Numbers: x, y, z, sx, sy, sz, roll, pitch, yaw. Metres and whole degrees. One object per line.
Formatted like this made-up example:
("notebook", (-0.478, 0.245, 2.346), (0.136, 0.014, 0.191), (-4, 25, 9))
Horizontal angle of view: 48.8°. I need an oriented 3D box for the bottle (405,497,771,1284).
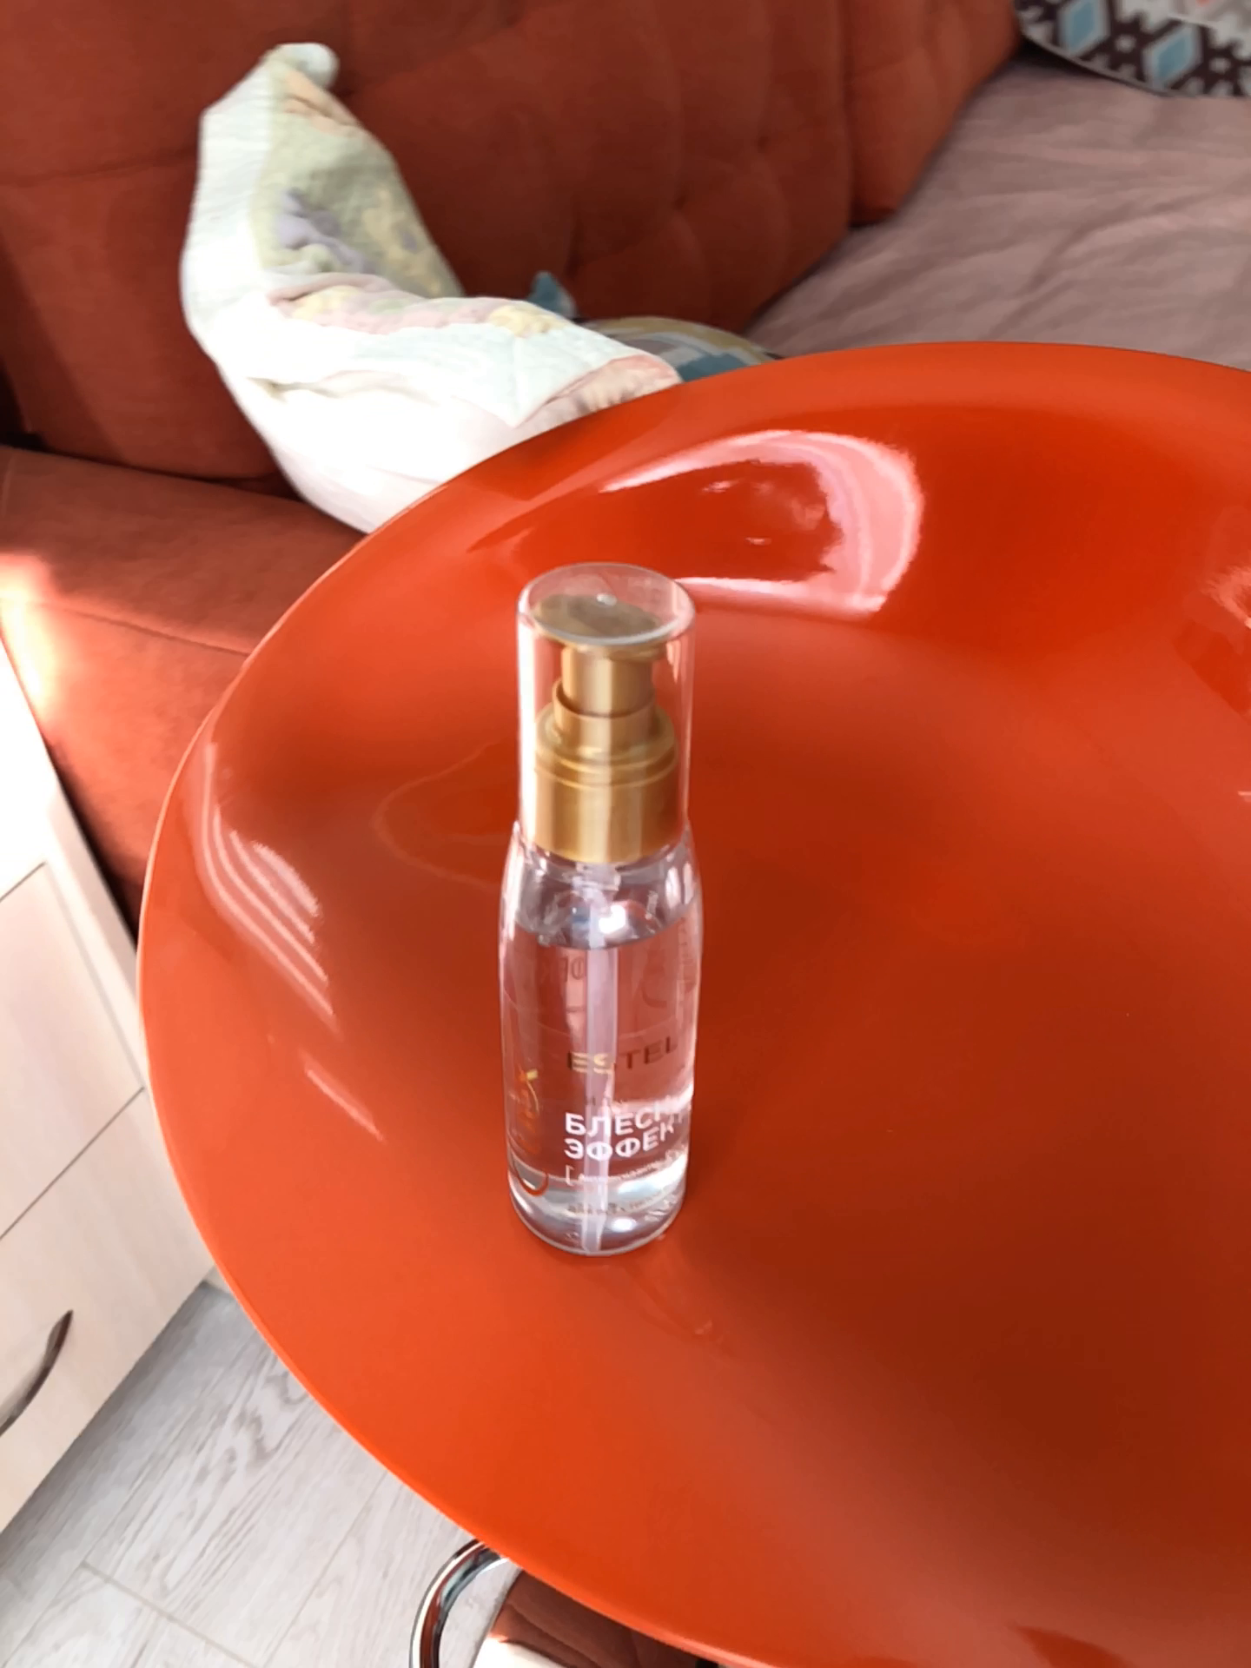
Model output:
("bottle", (-0.004, 0.017, 0.271), (0.050, 0.149, 0.050), (0, 36, 0))
